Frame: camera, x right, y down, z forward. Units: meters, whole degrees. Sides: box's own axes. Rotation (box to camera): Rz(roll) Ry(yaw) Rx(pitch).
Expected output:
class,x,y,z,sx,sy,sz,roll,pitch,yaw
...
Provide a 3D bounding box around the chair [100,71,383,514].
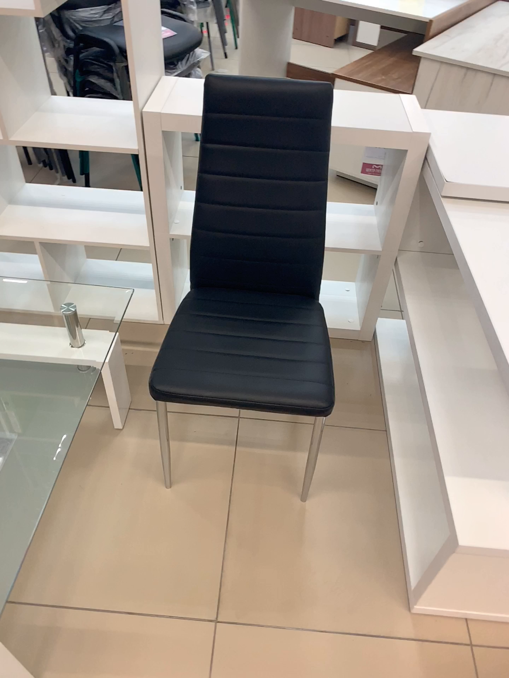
class,x,y,z,sx,sy,sz,roll,pitch,yaw
chair,-0.005,-0.088,1.329,0.440,0.916,0.603,6,42,4
